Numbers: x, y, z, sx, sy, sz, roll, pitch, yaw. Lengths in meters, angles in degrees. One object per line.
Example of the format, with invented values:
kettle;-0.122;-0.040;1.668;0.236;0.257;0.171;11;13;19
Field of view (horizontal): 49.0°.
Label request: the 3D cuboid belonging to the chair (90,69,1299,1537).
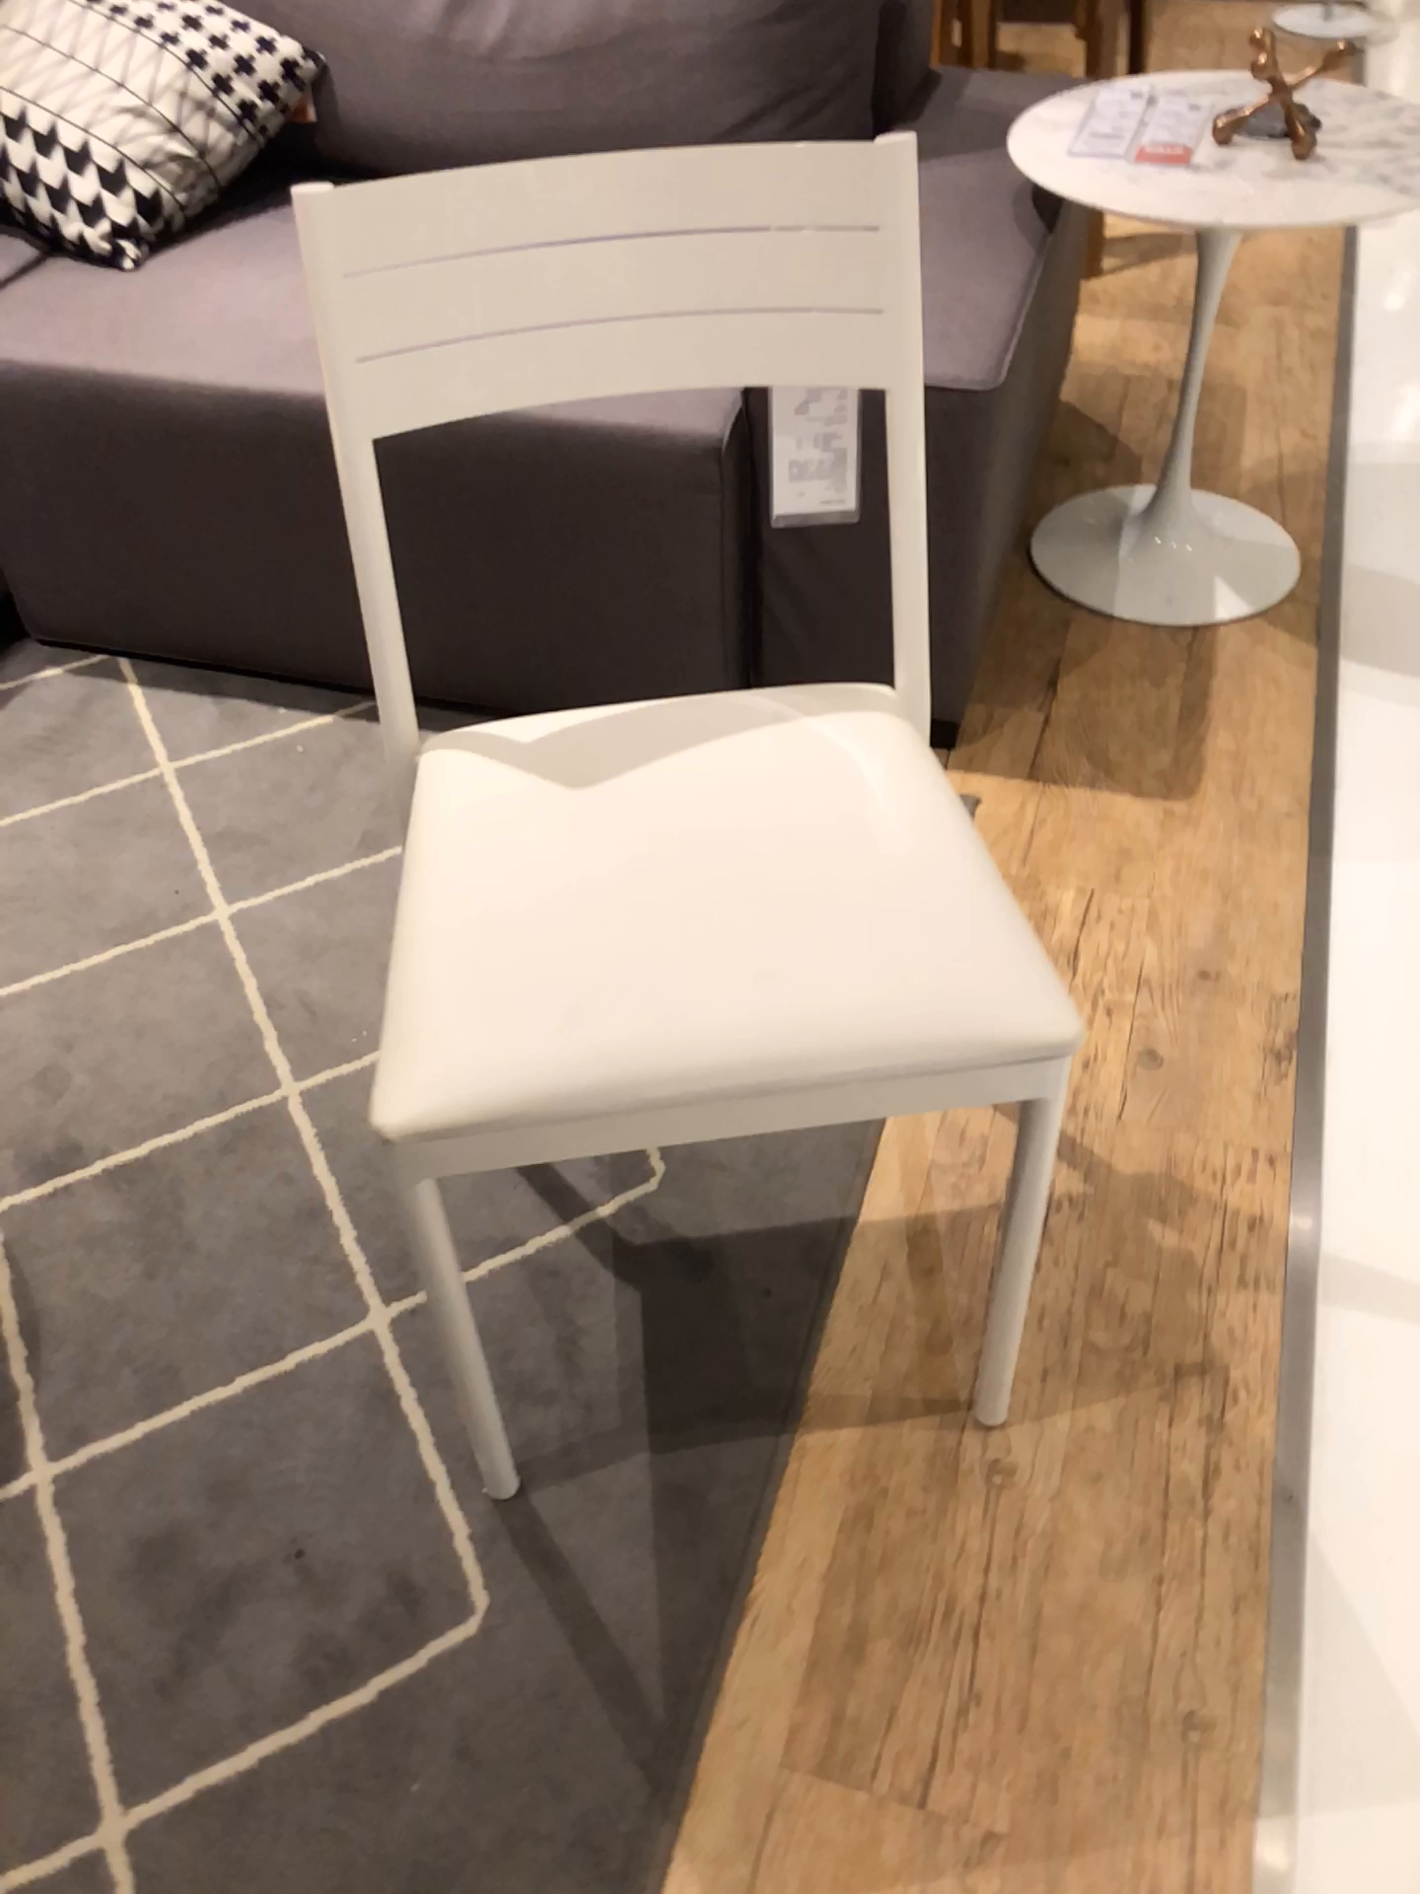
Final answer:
chair;-0.014;-0.053;1.012;0.450;0.774;0.473;-8;44;-4
